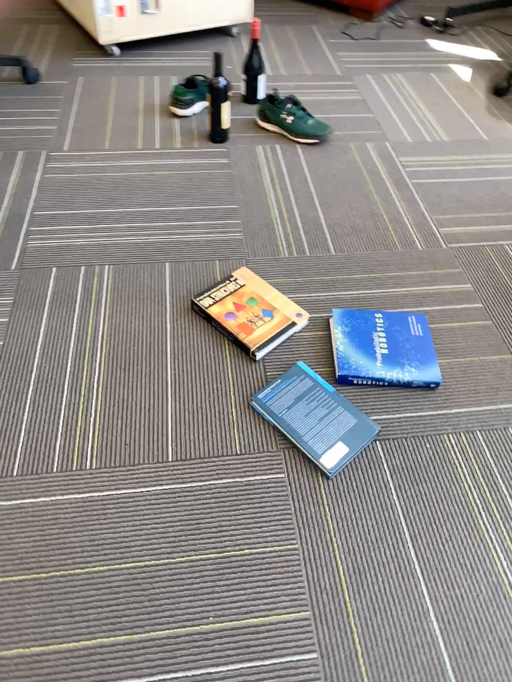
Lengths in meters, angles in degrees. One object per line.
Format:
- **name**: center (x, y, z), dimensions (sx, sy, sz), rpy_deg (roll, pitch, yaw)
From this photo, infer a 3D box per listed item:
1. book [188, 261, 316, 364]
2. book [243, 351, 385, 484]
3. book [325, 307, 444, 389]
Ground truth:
- **book**: center (-0.012, -0.078, 1.275), dimensions (0.192, 0.040, 0.247), rpy_deg (-35, 59, -29)
- **book**: center (0.118, 0.152, 1.099), dimensions (0.170, 0.040, 0.247), rpy_deg (-34, 62, -28)
- **book**: center (0.295, 0.012, 1.235), dimensions (0.245, 0.040, 0.206), rpy_deg (3, 49, -1)
